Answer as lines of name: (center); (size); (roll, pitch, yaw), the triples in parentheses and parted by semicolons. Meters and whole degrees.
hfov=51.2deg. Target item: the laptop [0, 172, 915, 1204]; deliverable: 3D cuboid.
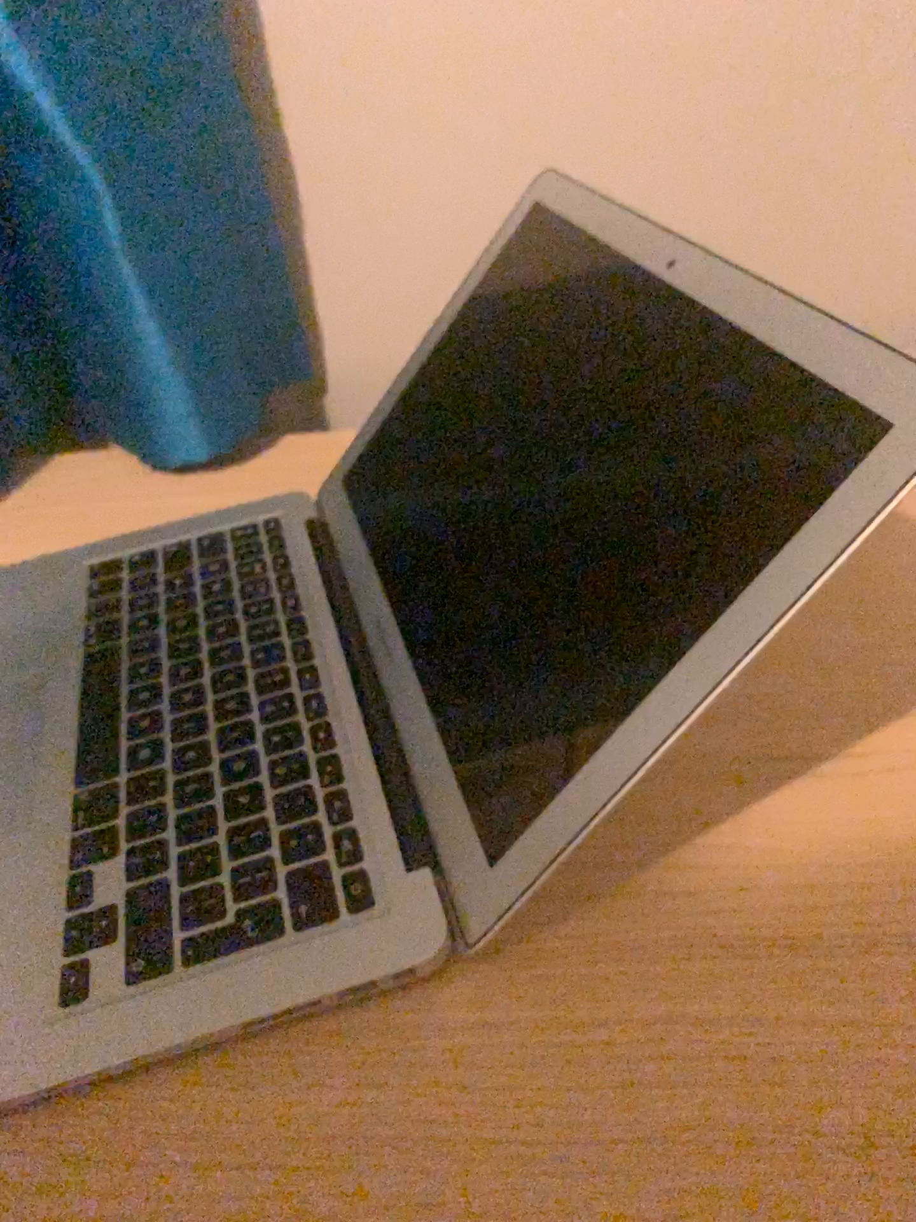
laptop: (-0.083, -0.030, 0.368); (0.368, 0.144, 0.304); (-15, 37, -10)
